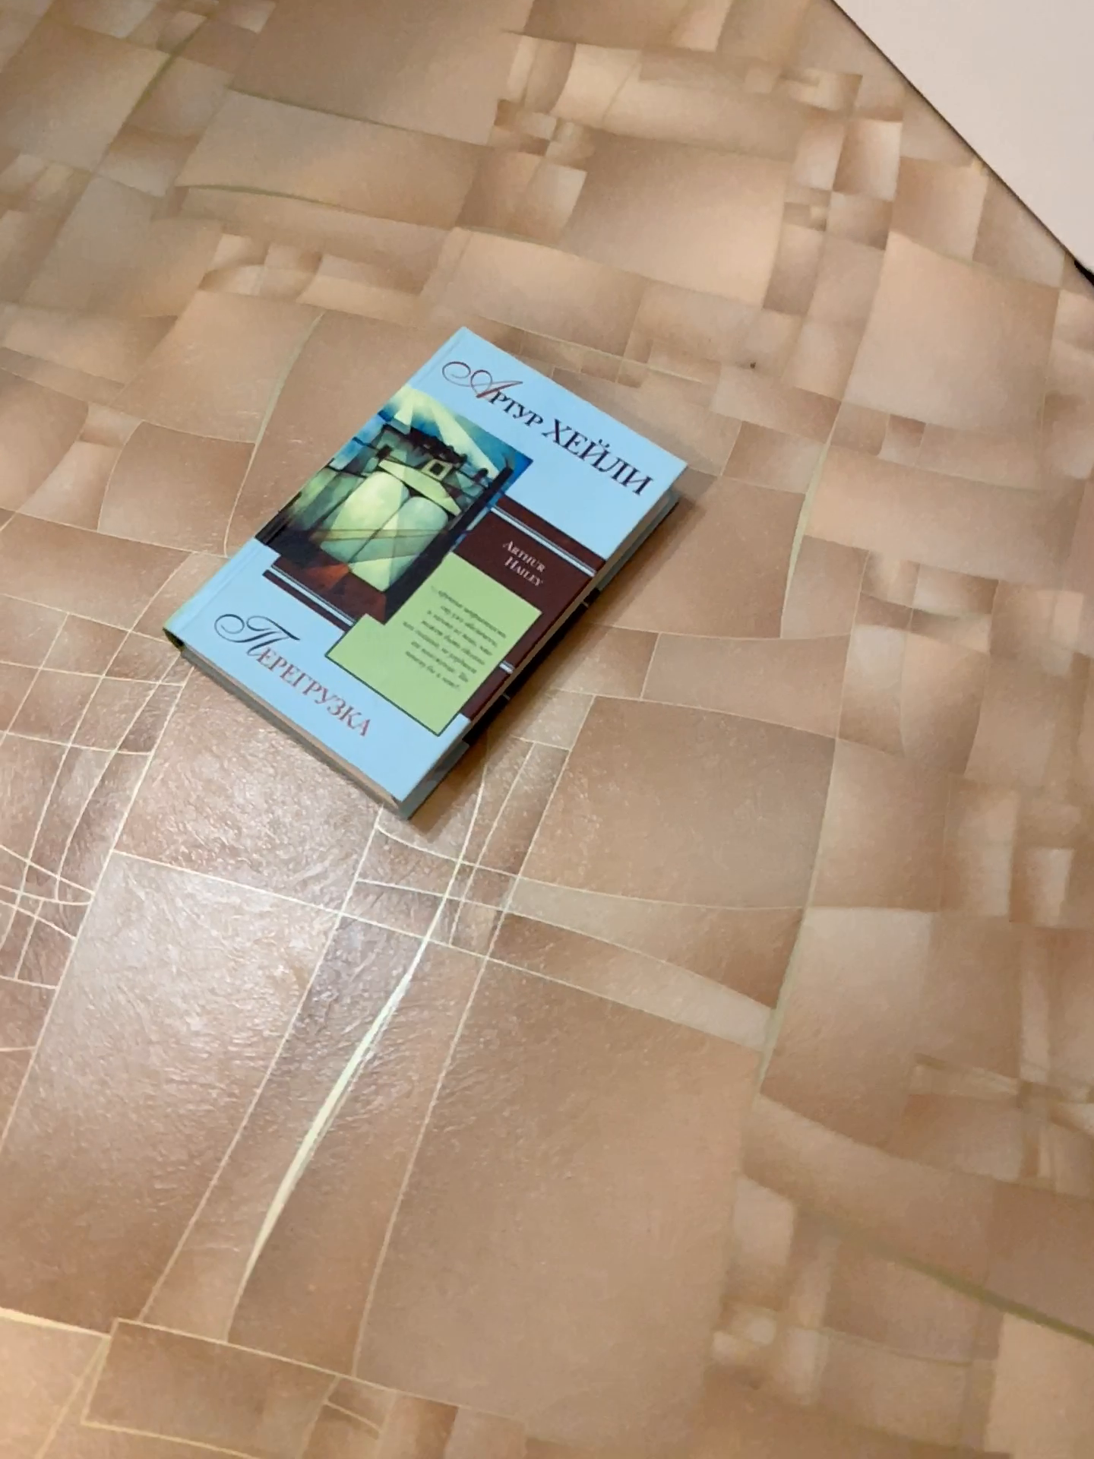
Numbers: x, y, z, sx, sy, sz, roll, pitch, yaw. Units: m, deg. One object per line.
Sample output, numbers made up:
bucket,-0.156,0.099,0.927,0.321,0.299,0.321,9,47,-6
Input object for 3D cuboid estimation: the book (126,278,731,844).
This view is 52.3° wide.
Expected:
book,-0.045,-0.081,0.477,0.150,0.040,0.211,34,71,15
